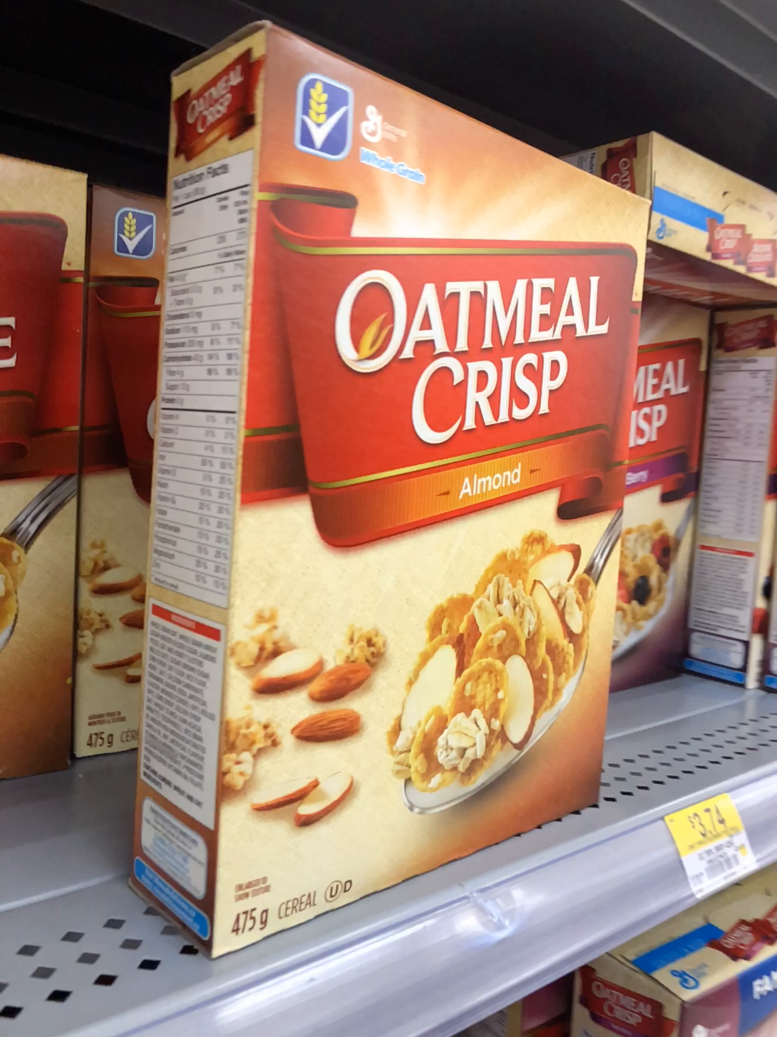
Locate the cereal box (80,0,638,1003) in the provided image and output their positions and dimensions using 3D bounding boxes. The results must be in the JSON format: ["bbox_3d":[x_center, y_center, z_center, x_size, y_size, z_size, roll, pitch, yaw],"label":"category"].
[{"bbox_3d":[0.004,-0.009,0.318,0.210,0.280,0.050,0,5,-44],"label":"cereal box"}]
